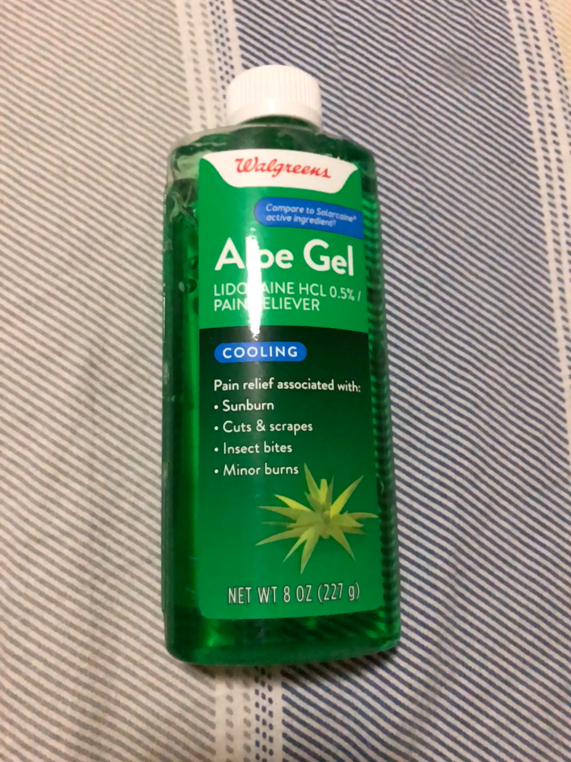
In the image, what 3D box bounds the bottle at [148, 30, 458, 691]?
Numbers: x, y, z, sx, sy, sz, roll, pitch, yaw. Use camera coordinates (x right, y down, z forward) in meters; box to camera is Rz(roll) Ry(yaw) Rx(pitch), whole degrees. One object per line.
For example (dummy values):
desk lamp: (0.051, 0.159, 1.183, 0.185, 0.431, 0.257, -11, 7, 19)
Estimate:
bottle: (0.002, -0.010, 0.195, 0.080, 0.030, 0.180, 2, 78, -14)
